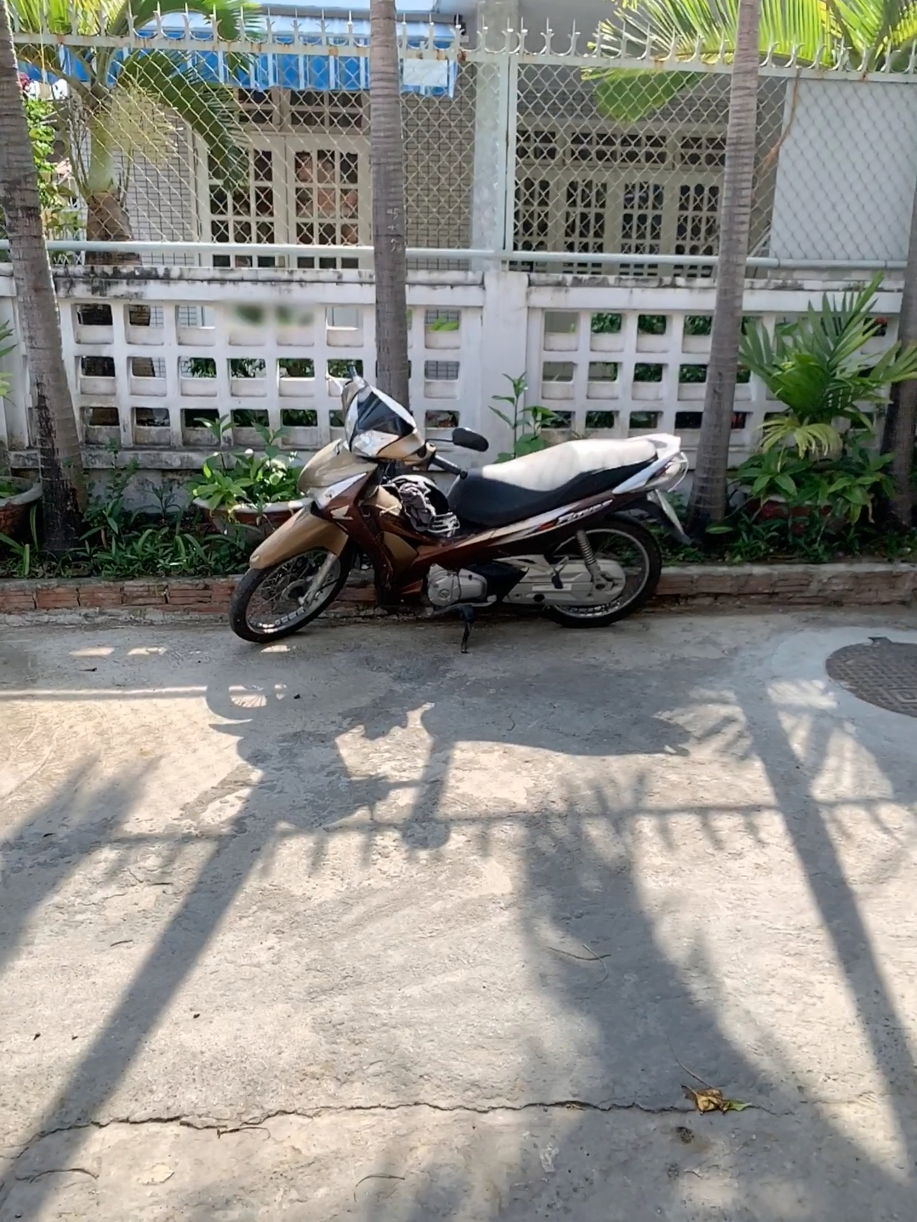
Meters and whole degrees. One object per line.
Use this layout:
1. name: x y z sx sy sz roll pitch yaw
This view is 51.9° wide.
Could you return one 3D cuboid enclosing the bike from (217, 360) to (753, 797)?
1. bike: 0.105 -0.220 3.740 1.976 1.442 0.614 -5 19 -18
